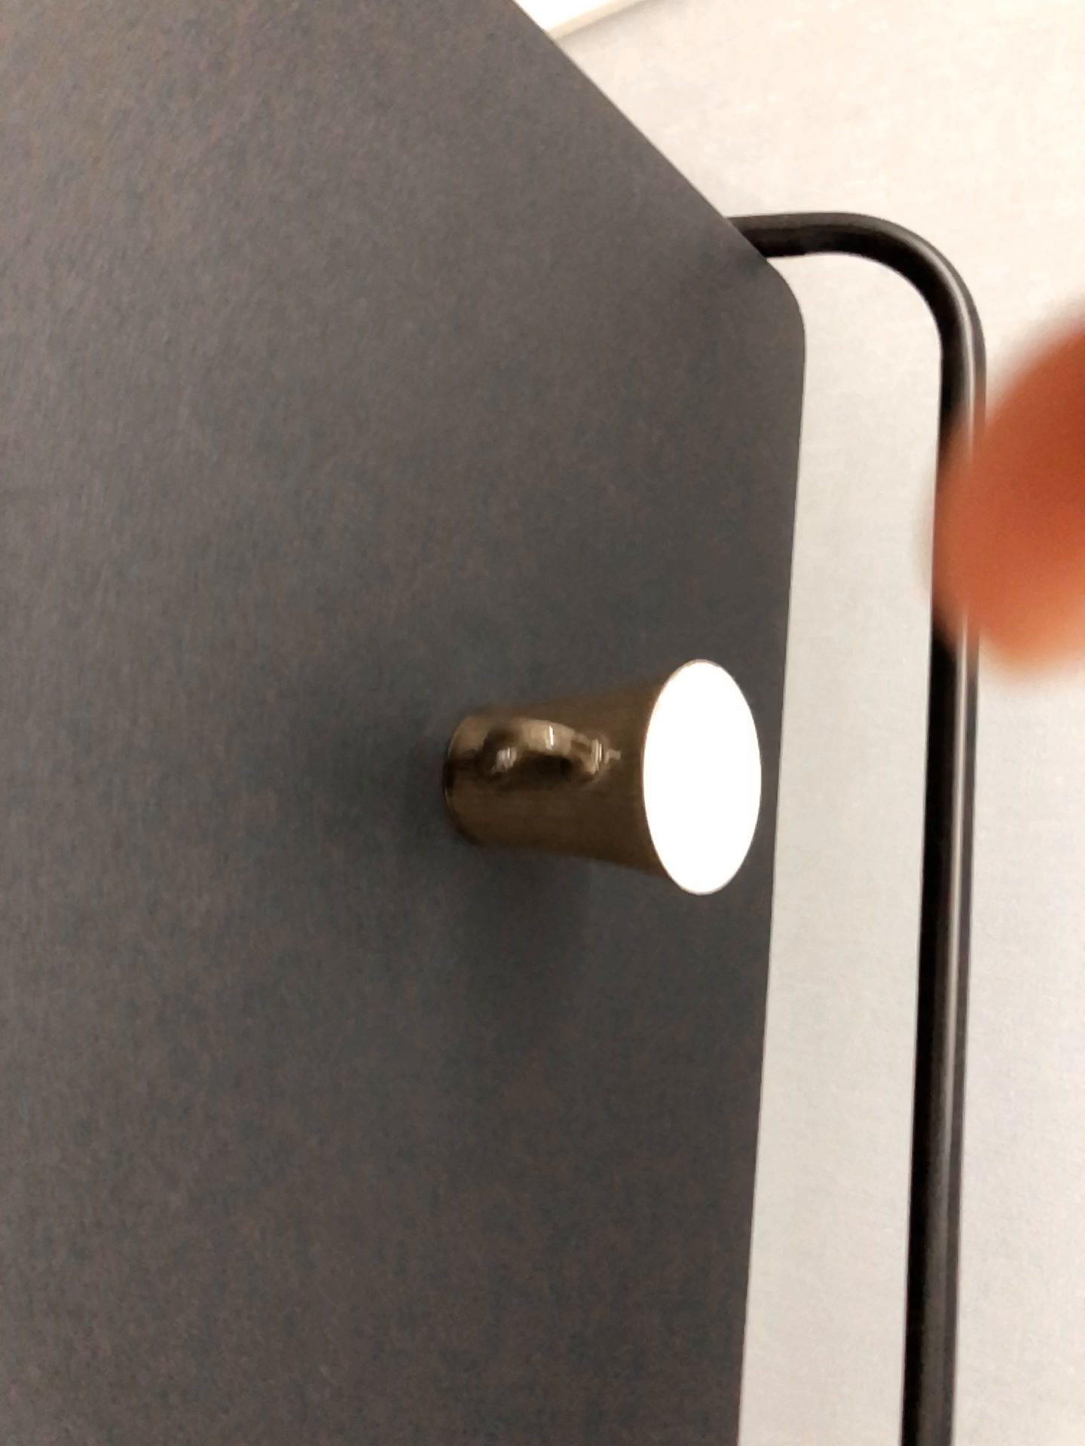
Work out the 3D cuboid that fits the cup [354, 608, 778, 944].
[{"bbox_3d":[0.010,0.018,0.332,0.090,0.069,0.065,28,67,-50],"label":"cup"}]
